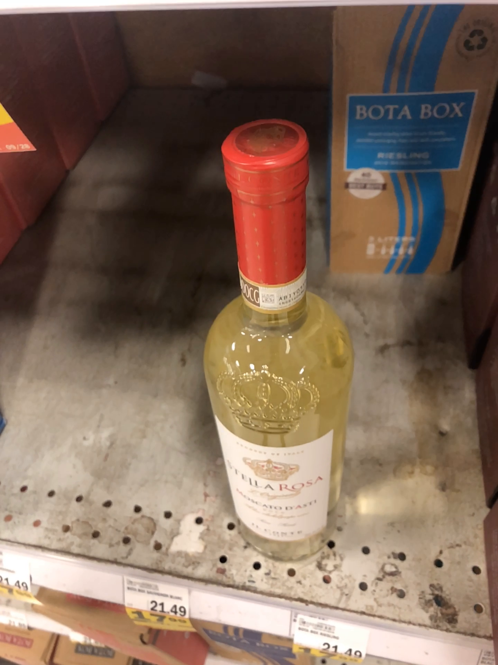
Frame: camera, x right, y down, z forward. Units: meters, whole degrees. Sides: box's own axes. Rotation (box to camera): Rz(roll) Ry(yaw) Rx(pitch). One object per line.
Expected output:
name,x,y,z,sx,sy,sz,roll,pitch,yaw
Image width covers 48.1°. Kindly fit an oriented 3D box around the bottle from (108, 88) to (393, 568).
bottle,0.019,0.041,0.300,0.080,0.320,0.070,3,52,9
